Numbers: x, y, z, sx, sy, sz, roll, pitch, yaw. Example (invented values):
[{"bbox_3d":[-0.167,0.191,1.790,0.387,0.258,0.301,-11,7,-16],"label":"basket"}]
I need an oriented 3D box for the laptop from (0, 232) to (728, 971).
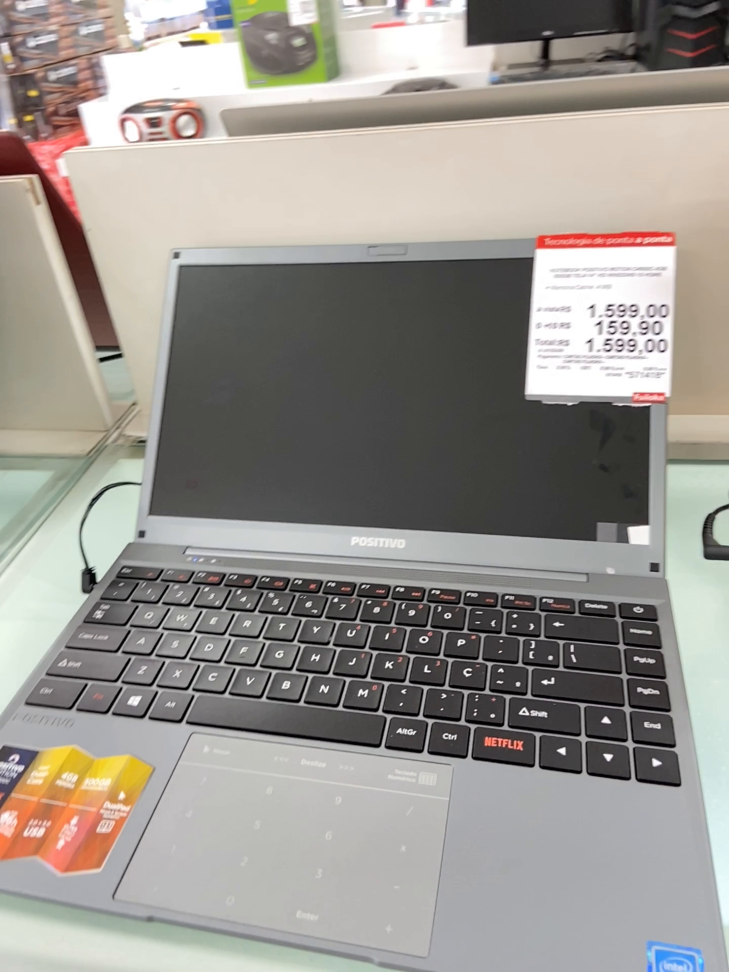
[{"bbox_3d":[-0.007,0.005,0.385,0.333,0.144,0.368,2,35,13],"label":"laptop"}]
